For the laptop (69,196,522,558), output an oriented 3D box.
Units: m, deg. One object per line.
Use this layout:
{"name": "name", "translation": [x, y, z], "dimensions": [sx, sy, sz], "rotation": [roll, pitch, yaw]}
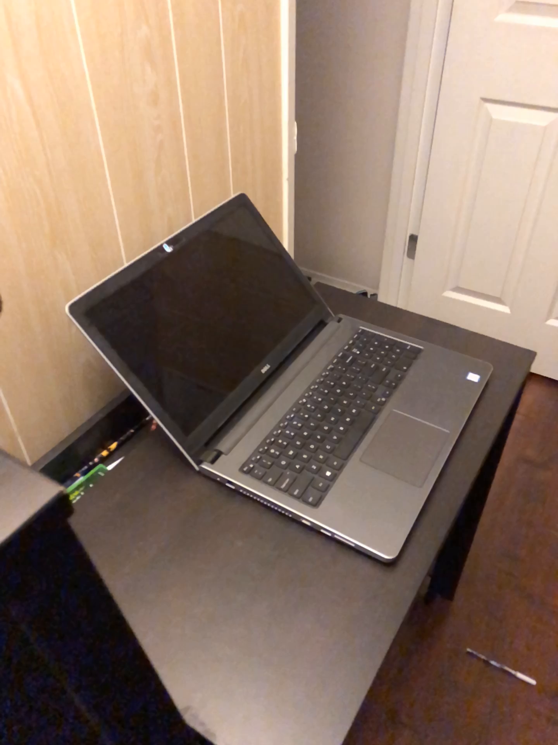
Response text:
{"name": "laptop", "translation": [0.034, -0.040, 0.791], "dimensions": [0.427, 0.172, 0.369], "rotation": [20, 44, 24]}
